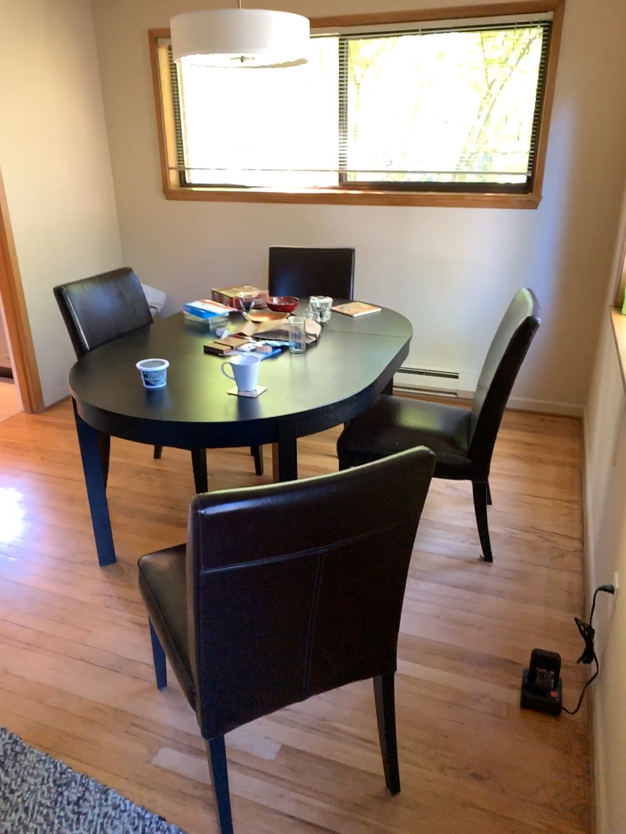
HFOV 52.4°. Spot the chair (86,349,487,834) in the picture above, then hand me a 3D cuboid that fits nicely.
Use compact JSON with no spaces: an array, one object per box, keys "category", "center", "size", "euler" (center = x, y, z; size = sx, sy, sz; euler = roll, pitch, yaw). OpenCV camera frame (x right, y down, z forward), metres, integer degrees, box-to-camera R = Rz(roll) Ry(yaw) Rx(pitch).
[{"category":"chair","center":[-0.095,0.489,1.521],"size":[0.620,1.084,0.654],"euler":[-11,25,-23]}]
